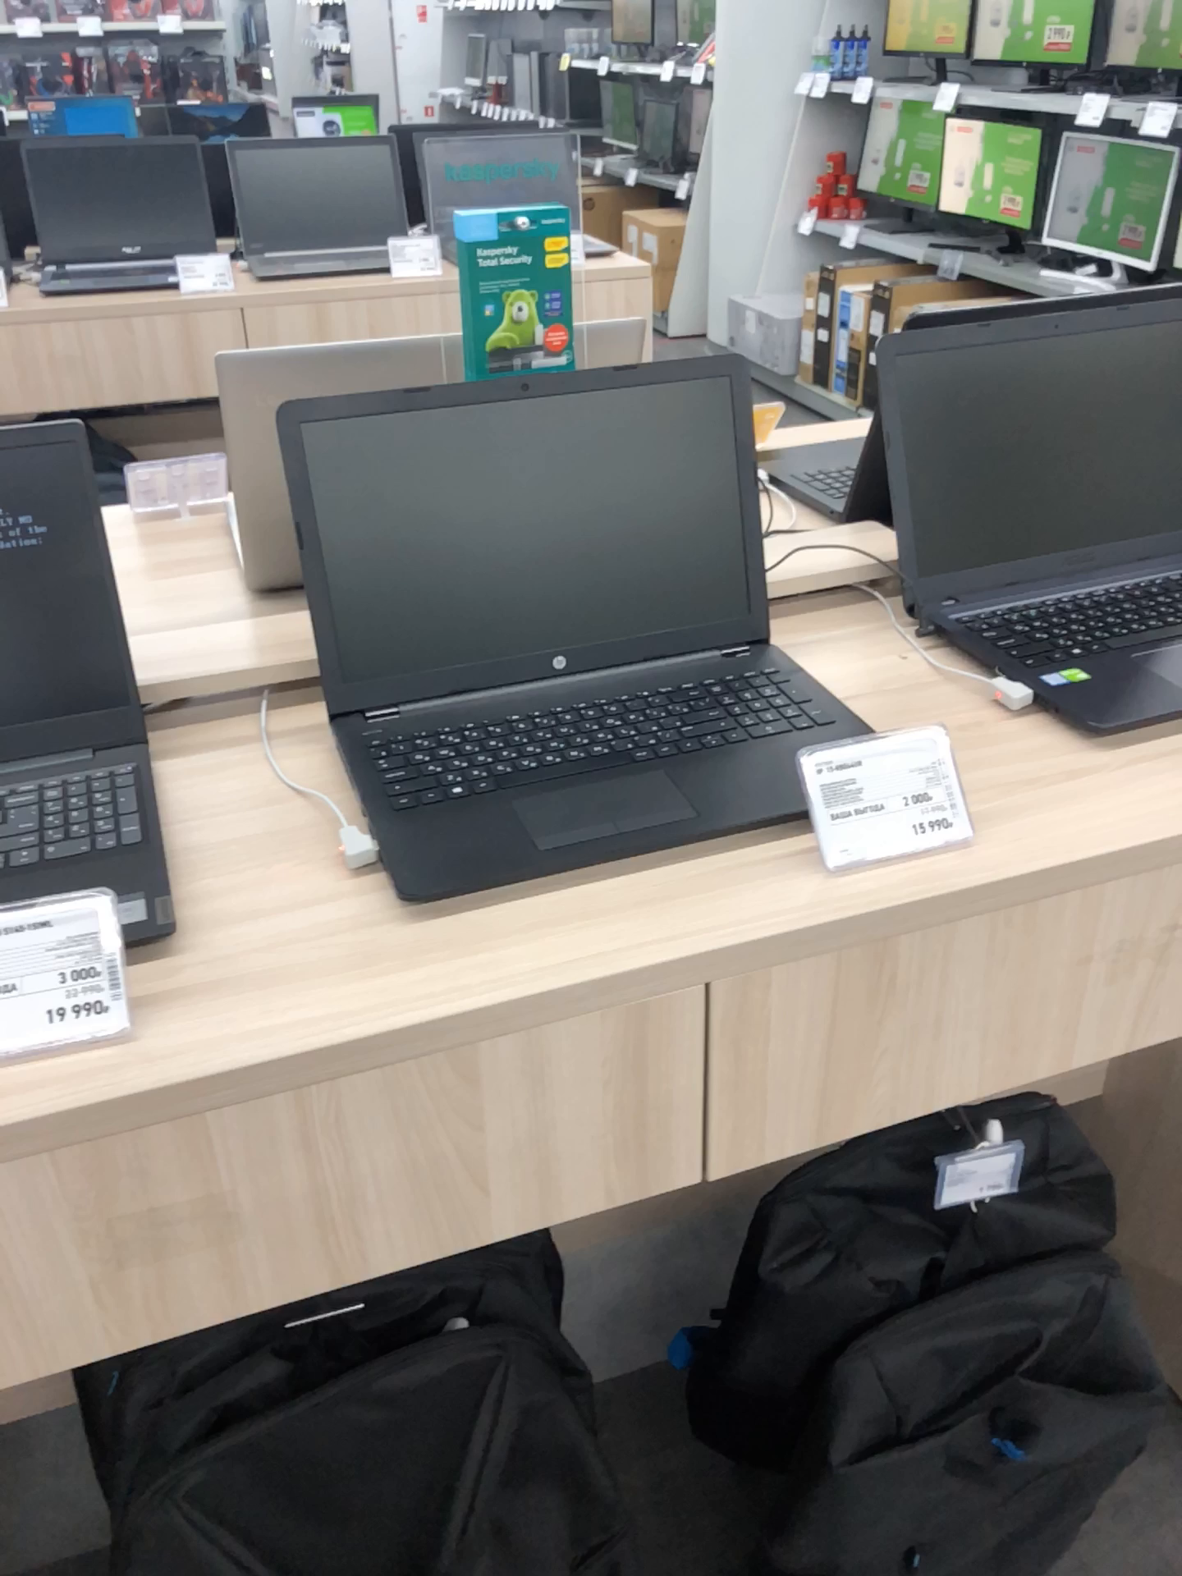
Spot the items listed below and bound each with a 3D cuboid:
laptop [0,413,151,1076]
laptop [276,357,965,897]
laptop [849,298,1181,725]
[{"bbox_3d":[-0.467,-0.061,0.790,0.331,0.213,0.328,-11,33,-18],"label":"laptop"},{"bbox_3d":[0.002,-0.140,0.911,0.367,0.216,0.313,-12,32,-17],"label":"laptop"},{"bbox_3d":[0.479,-0.254,1.086,0.369,0.209,0.335,-12,34,-19],"label":"laptop"}]
